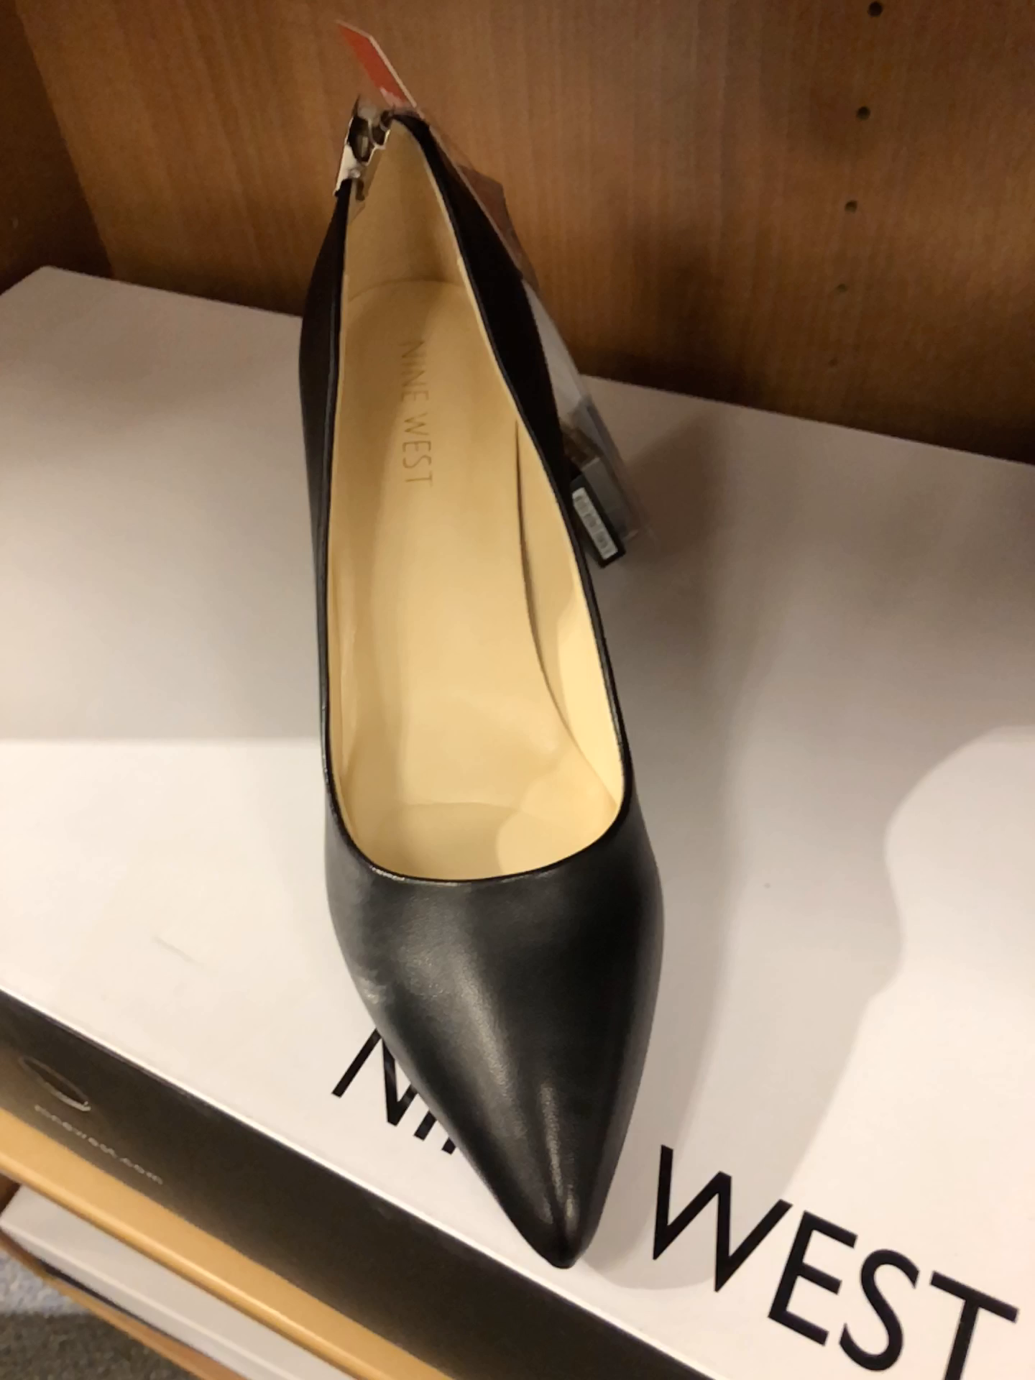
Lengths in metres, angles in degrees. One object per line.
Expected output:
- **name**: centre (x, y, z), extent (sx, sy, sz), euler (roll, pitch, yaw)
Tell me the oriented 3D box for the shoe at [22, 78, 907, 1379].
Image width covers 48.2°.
- **shoe**: centre (-0.014, -0.005, 0.270), extent (0.096, 0.160, 0.255), euler (-9, 47, -1)
